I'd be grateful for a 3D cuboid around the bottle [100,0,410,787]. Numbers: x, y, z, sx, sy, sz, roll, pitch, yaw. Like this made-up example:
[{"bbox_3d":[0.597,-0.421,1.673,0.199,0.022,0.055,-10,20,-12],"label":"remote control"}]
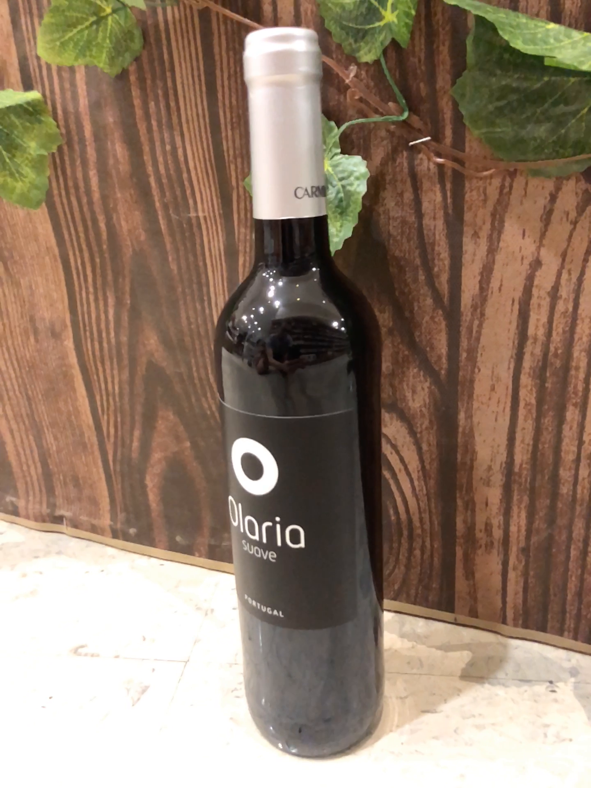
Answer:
[{"bbox_3d":[-0.004,0.010,0.285,0.080,0.298,0.080,-3,19,1],"label":"bottle"}]
